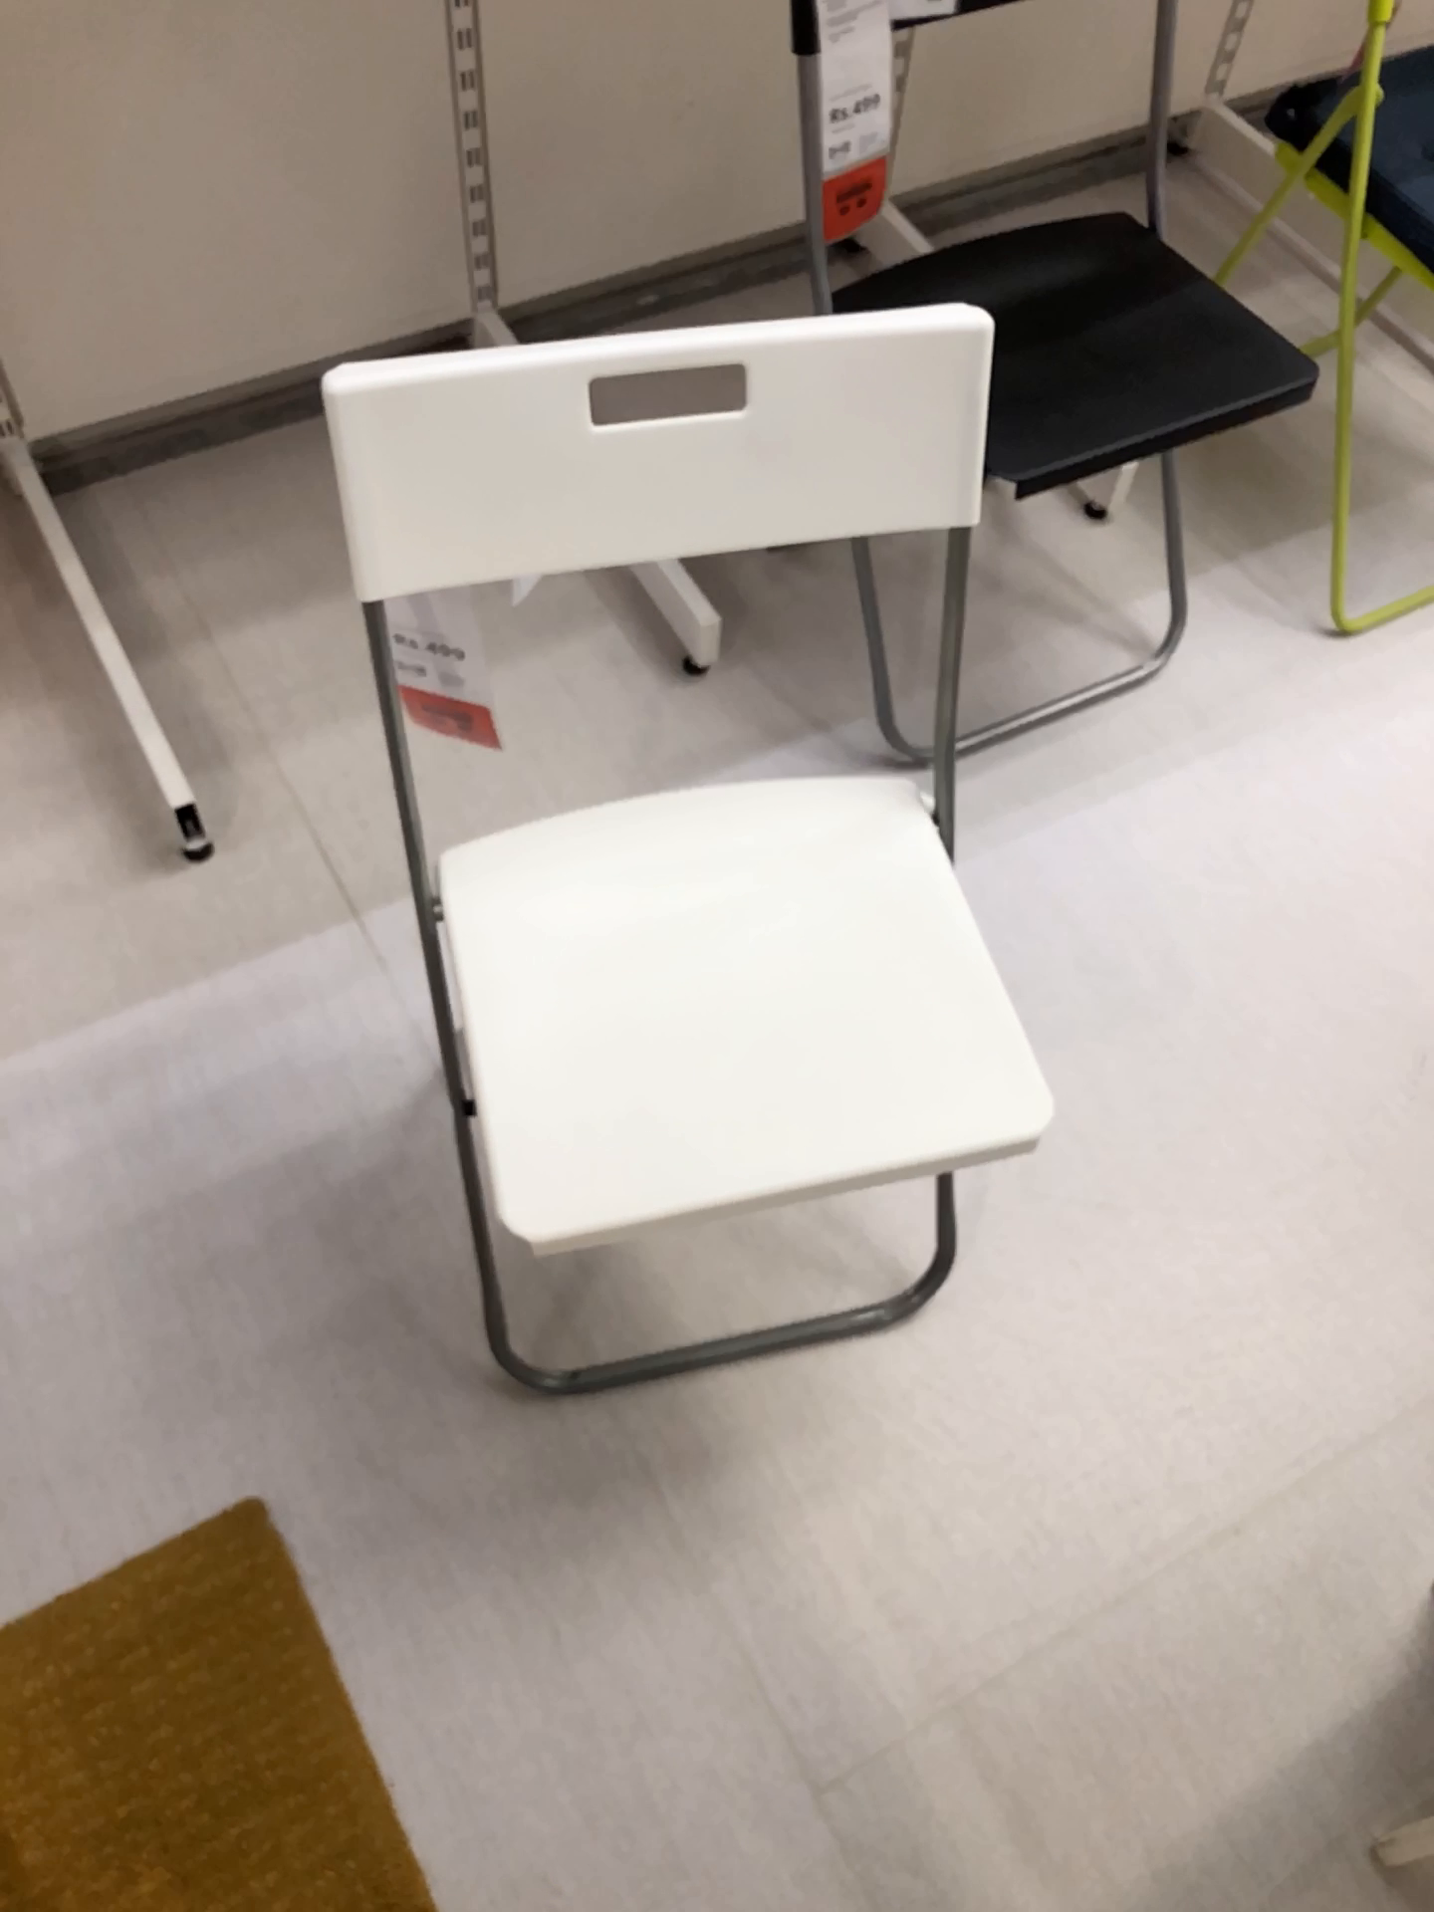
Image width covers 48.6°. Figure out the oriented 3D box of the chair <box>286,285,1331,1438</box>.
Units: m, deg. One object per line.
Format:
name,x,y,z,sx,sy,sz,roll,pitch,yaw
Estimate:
chair,0.004,-0.007,1.122,0.450,0.726,0.402,-10,59,-10
